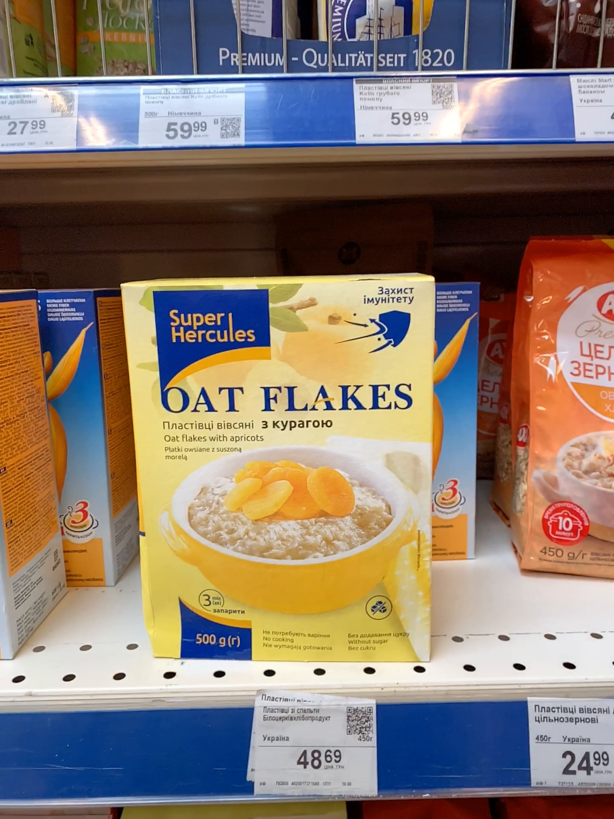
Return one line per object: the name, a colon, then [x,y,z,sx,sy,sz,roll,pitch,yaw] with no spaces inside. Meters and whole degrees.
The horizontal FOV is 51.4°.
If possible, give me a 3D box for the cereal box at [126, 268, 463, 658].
cereal box: [-0.003,0.025,0.331,0.150,0.189,0.060,-1,11,3]
